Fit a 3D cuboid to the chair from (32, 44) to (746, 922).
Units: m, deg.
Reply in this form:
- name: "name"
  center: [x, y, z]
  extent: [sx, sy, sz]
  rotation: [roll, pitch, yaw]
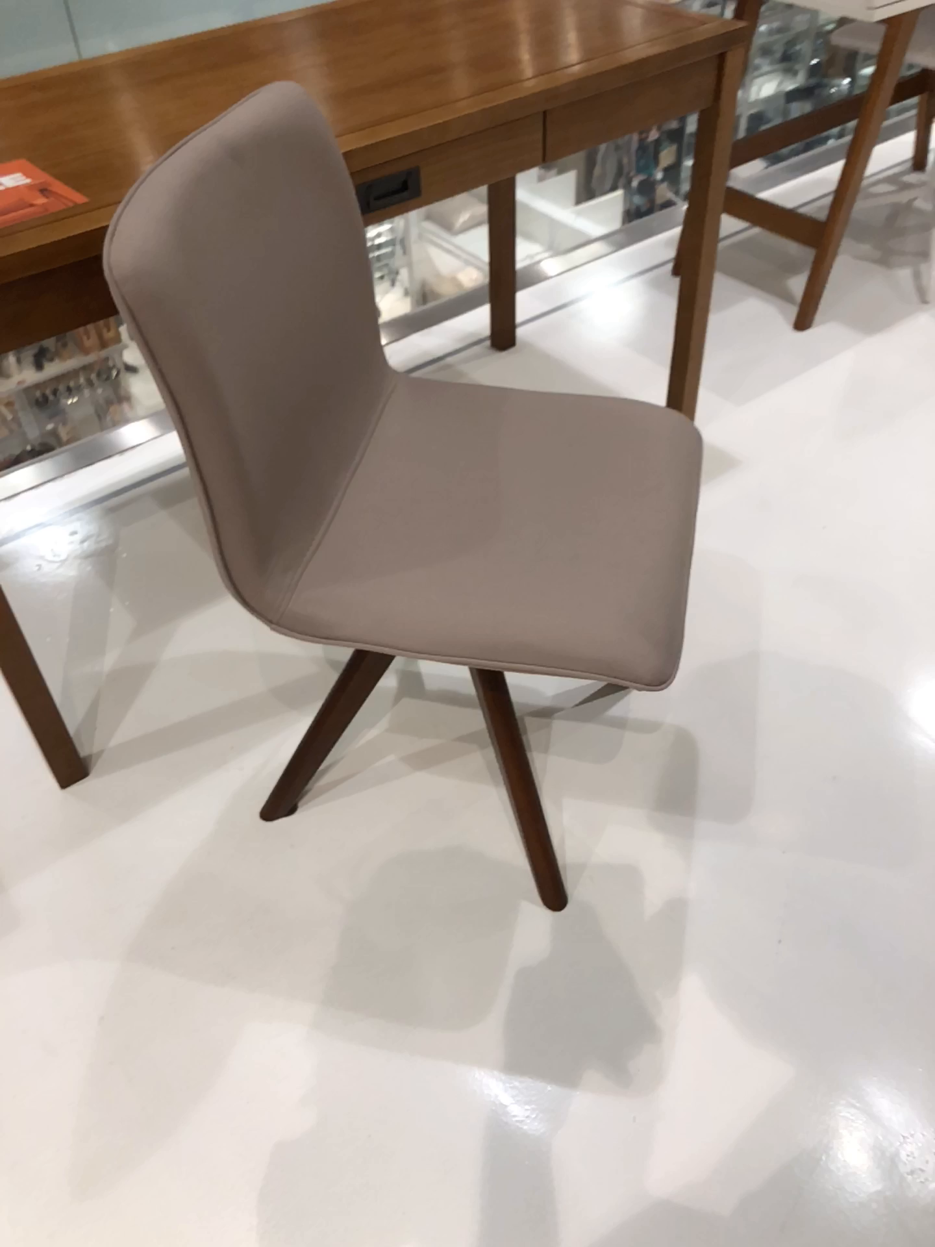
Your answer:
- name: "chair"
  center: [-0.005, -0.144, 1.222]
  extent: [0.530, 0.834, 0.544]
  rotation: [6, 44, 9]
